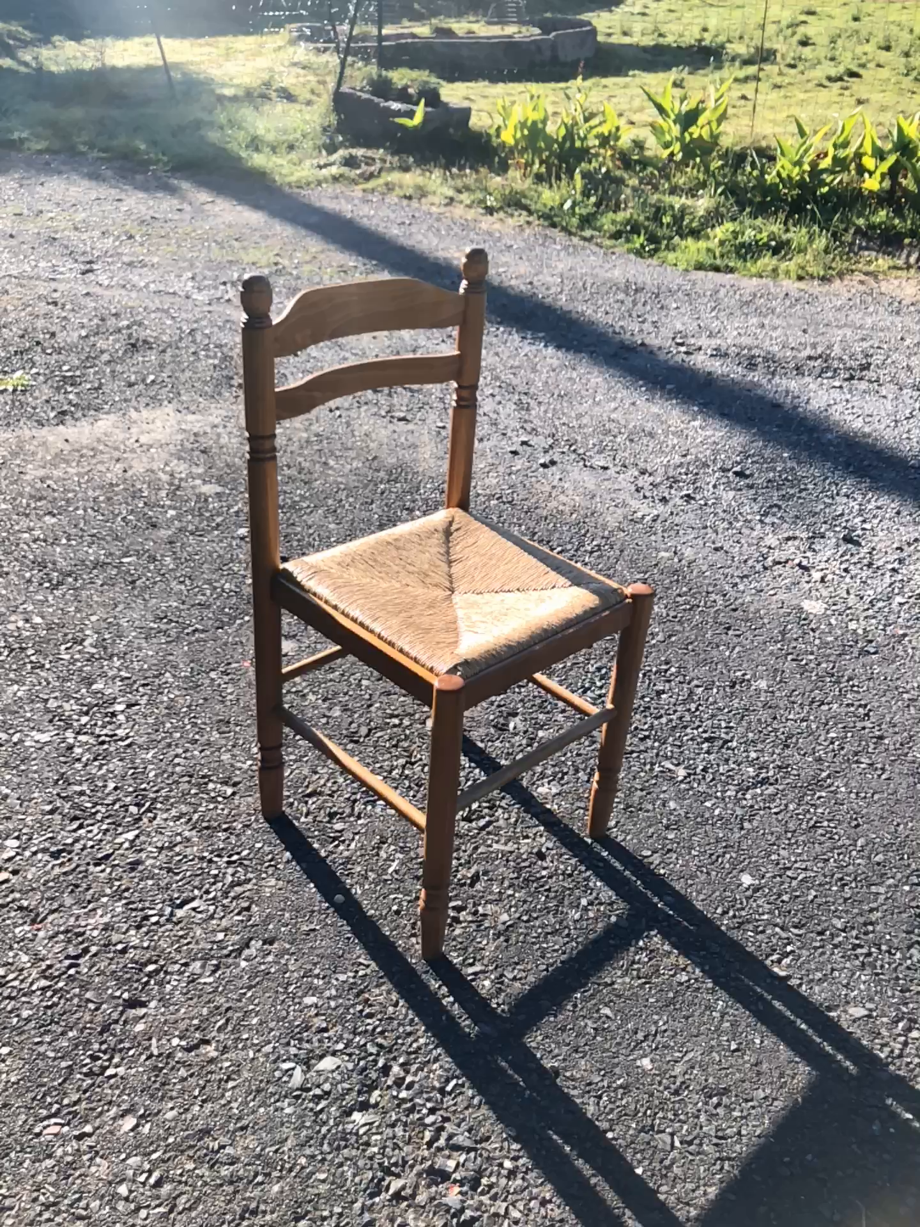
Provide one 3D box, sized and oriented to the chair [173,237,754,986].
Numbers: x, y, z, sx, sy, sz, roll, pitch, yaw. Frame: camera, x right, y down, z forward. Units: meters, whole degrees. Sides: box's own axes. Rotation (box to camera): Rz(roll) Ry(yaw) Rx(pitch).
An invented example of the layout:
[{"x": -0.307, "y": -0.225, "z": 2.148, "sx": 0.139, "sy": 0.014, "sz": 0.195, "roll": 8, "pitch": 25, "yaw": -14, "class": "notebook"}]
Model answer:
[{"x": -0.007, "y": -0.044, "z": 1.391, "sx": 0.492, "sy": 0.795, "sz": 0.491, "roll": -24, "pitch": 38, "yaw": -38, "class": "chair"}]
